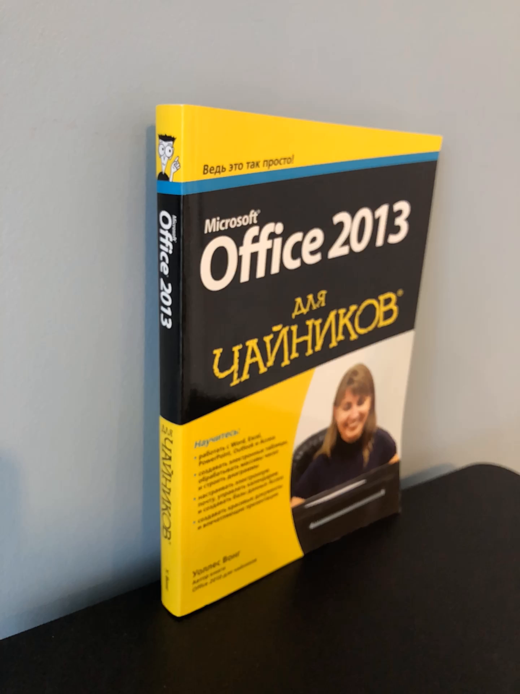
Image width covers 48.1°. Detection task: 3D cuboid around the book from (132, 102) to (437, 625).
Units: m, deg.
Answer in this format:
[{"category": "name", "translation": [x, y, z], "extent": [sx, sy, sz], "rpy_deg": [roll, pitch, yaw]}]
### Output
[{"category": "book", "translation": [0.017, 0.005, 0.308], "extent": [0.165, 0.233, 0.031], "rpy_deg": [-11, 21, -38]}]
